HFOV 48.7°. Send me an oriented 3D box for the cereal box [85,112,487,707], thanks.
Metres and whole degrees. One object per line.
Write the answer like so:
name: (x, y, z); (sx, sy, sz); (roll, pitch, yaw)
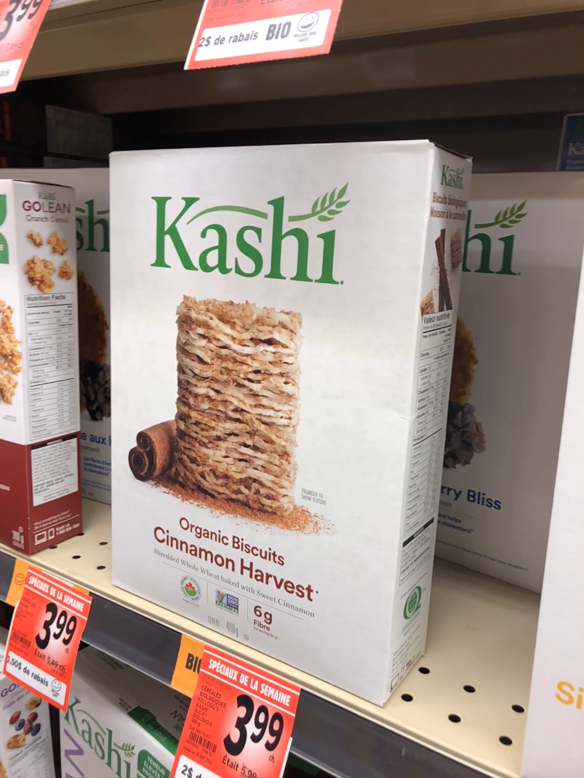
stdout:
cereal box: (-0.014, 0.001, 0.362); (0.200, 0.269, 0.070); (11, 17, 32)
